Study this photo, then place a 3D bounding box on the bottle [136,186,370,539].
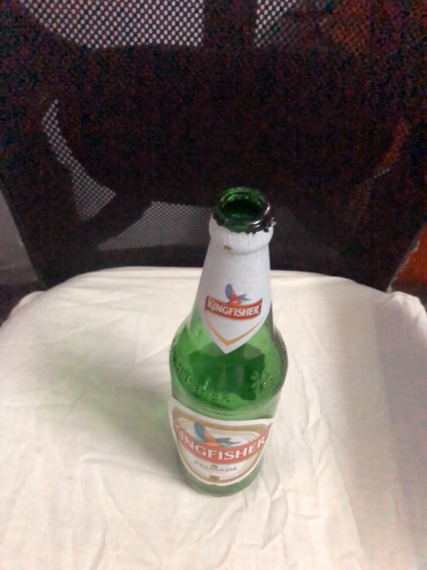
[{"bbox_3d":[0.014,0.073,0.283,0.080,0.259,0.070,11,51,6],"label":"bottle"}]
